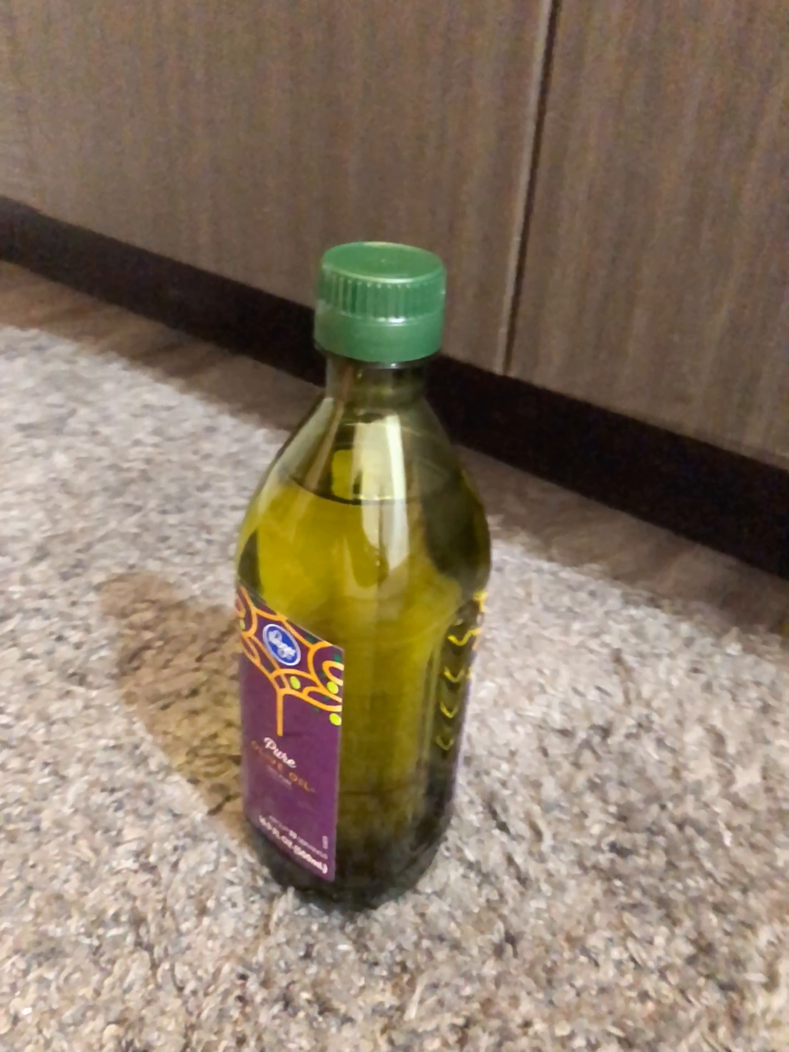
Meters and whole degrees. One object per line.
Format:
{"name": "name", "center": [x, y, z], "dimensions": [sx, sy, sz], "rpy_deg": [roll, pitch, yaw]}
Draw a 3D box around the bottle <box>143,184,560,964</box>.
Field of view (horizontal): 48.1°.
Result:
{"name": "bottle", "center": [-0.015, 0.023, 0.252], "dimensions": [0.060, 0.209, 0.070], "rpy_deg": [-27, 44, -36]}
